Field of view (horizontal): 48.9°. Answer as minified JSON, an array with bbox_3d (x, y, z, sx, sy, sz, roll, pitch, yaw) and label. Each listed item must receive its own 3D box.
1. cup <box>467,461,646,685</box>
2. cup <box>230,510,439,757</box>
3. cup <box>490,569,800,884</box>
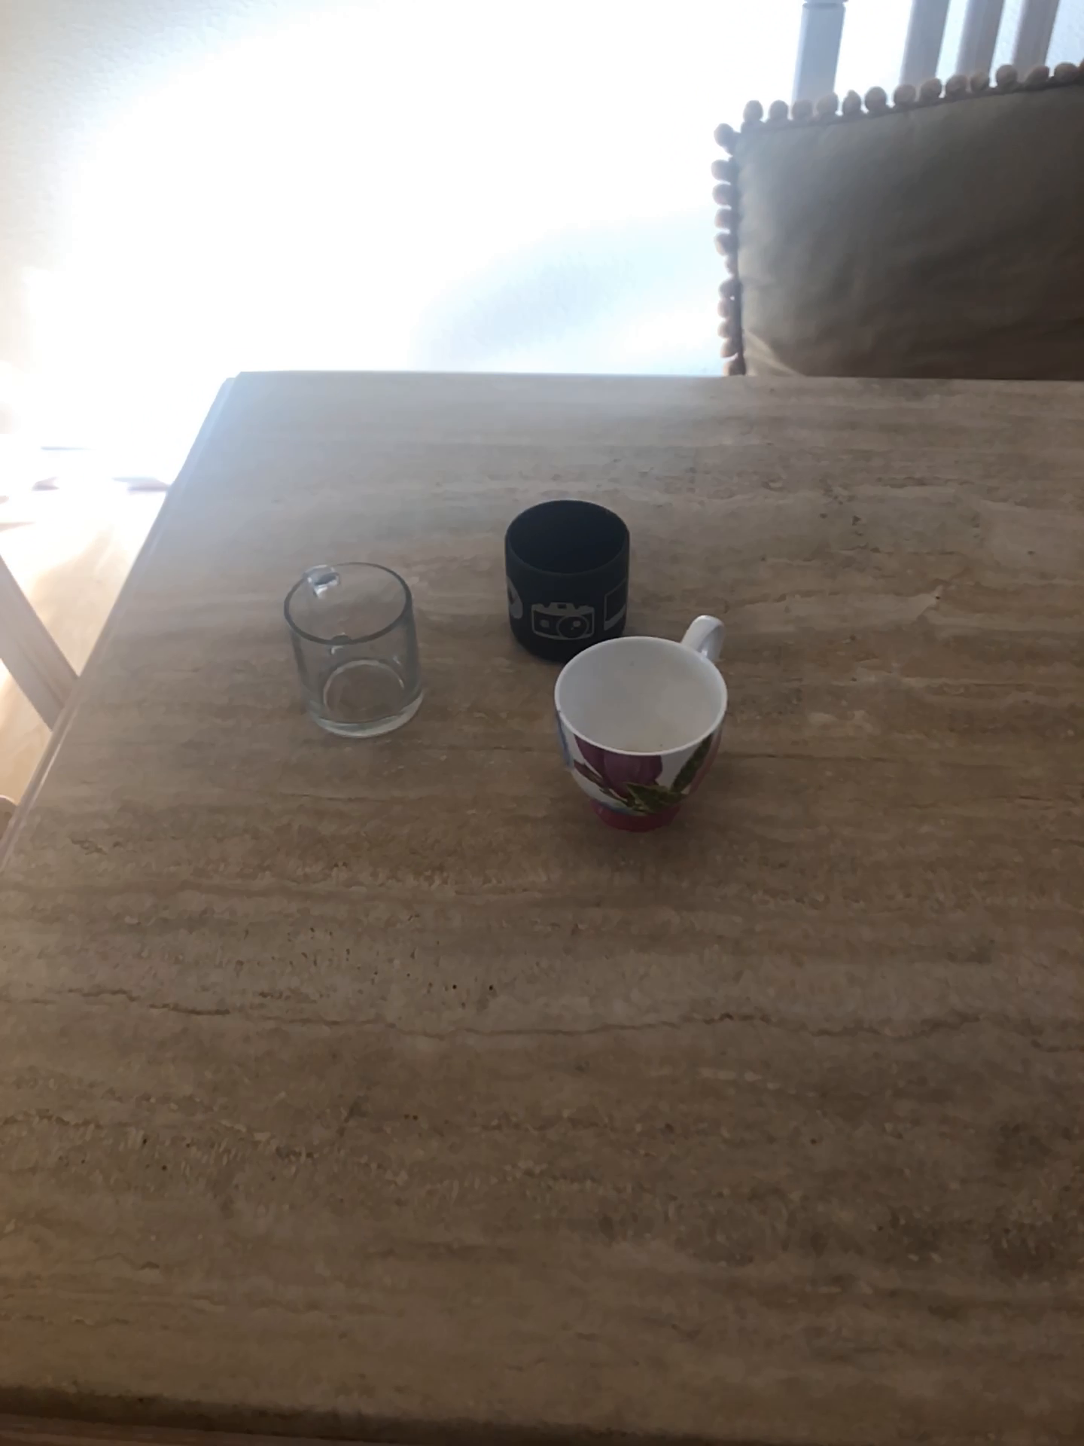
[{"bbox_3d":[0.015,-0.117,0.913,0.100,0.089,0.141,10,47,12],"label":"cup"},{"bbox_3d":[-0.149,-0.067,0.859,0.090,0.089,0.141,-23,49,-19],"label":"cup"},{"bbox_3d":[0.068,-0.003,0.780,0.120,0.089,0.161,32,54,29],"label":"cup"}]
